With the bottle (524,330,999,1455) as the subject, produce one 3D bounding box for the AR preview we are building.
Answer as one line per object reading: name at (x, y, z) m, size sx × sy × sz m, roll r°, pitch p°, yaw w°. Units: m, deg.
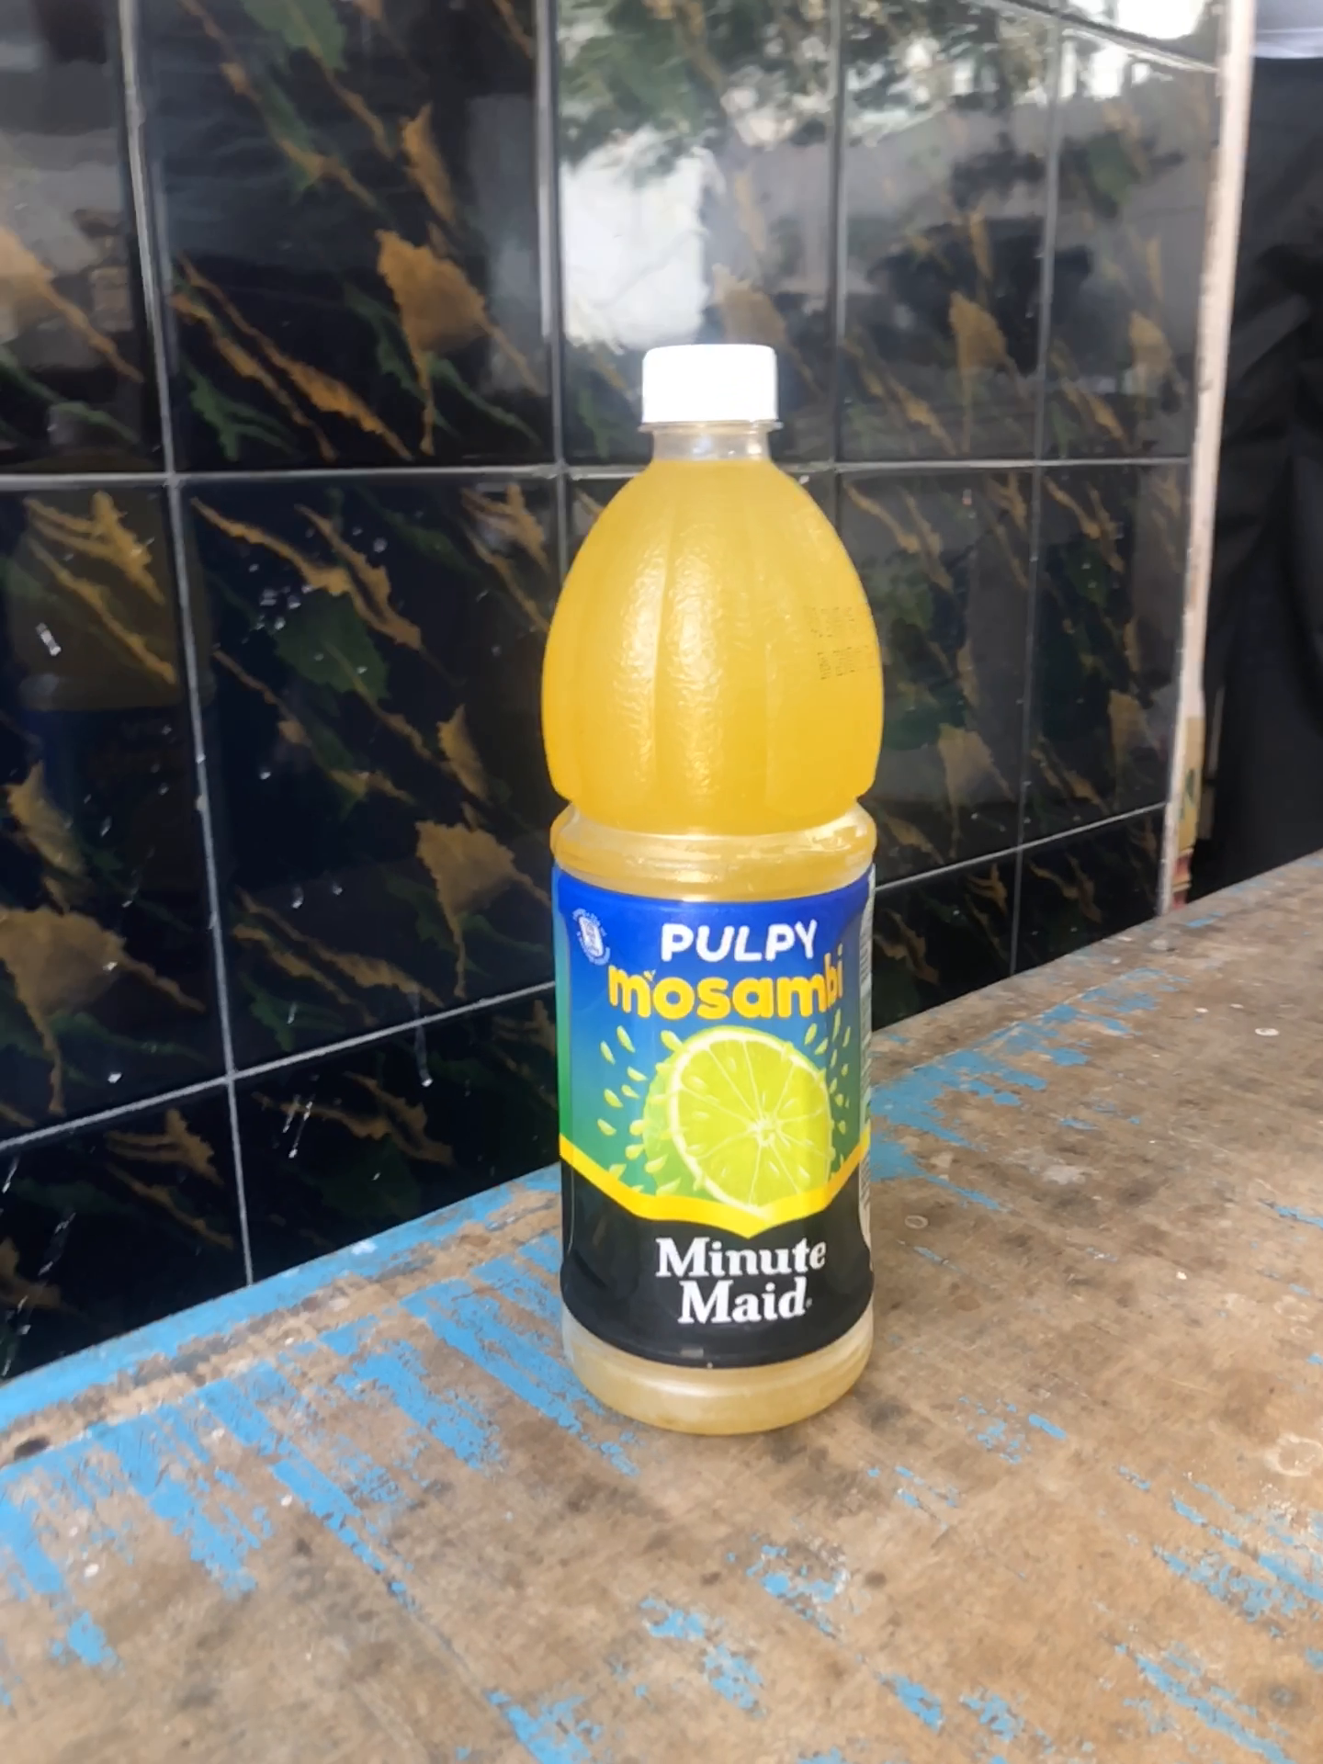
bottle at (0.018, -0.001, 0.366) m, size 0.090 × 0.249 × 0.100 m, roll -3°, pitch 16°, yaw -7°
